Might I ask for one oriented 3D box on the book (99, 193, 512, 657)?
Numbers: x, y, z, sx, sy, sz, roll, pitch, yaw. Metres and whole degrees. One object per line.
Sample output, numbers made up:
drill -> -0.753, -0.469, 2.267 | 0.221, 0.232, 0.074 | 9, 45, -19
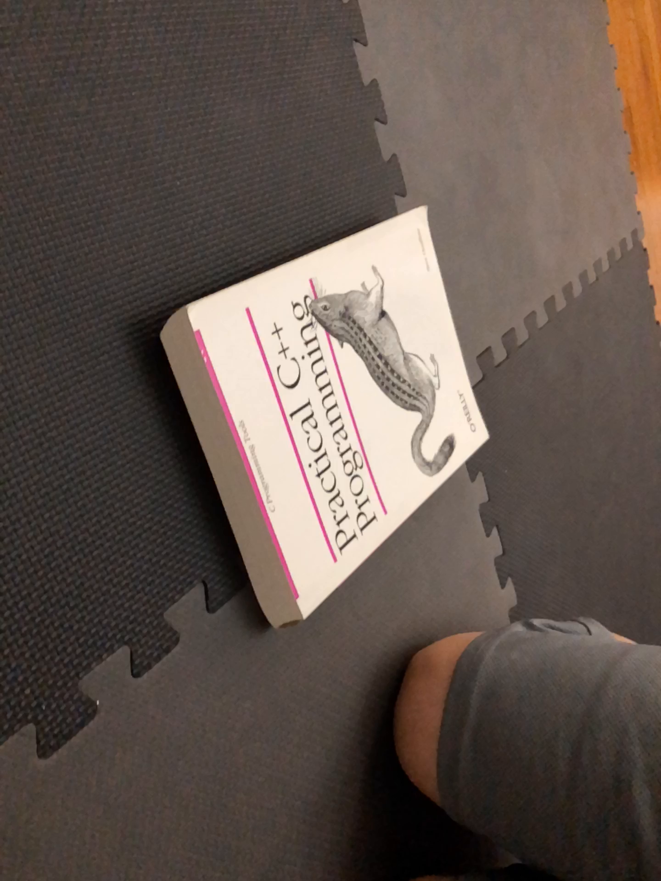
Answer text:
book -> 0.012, -0.027, 0.461 | 0.251, 0.050, 0.200 | -37, 109, -46
